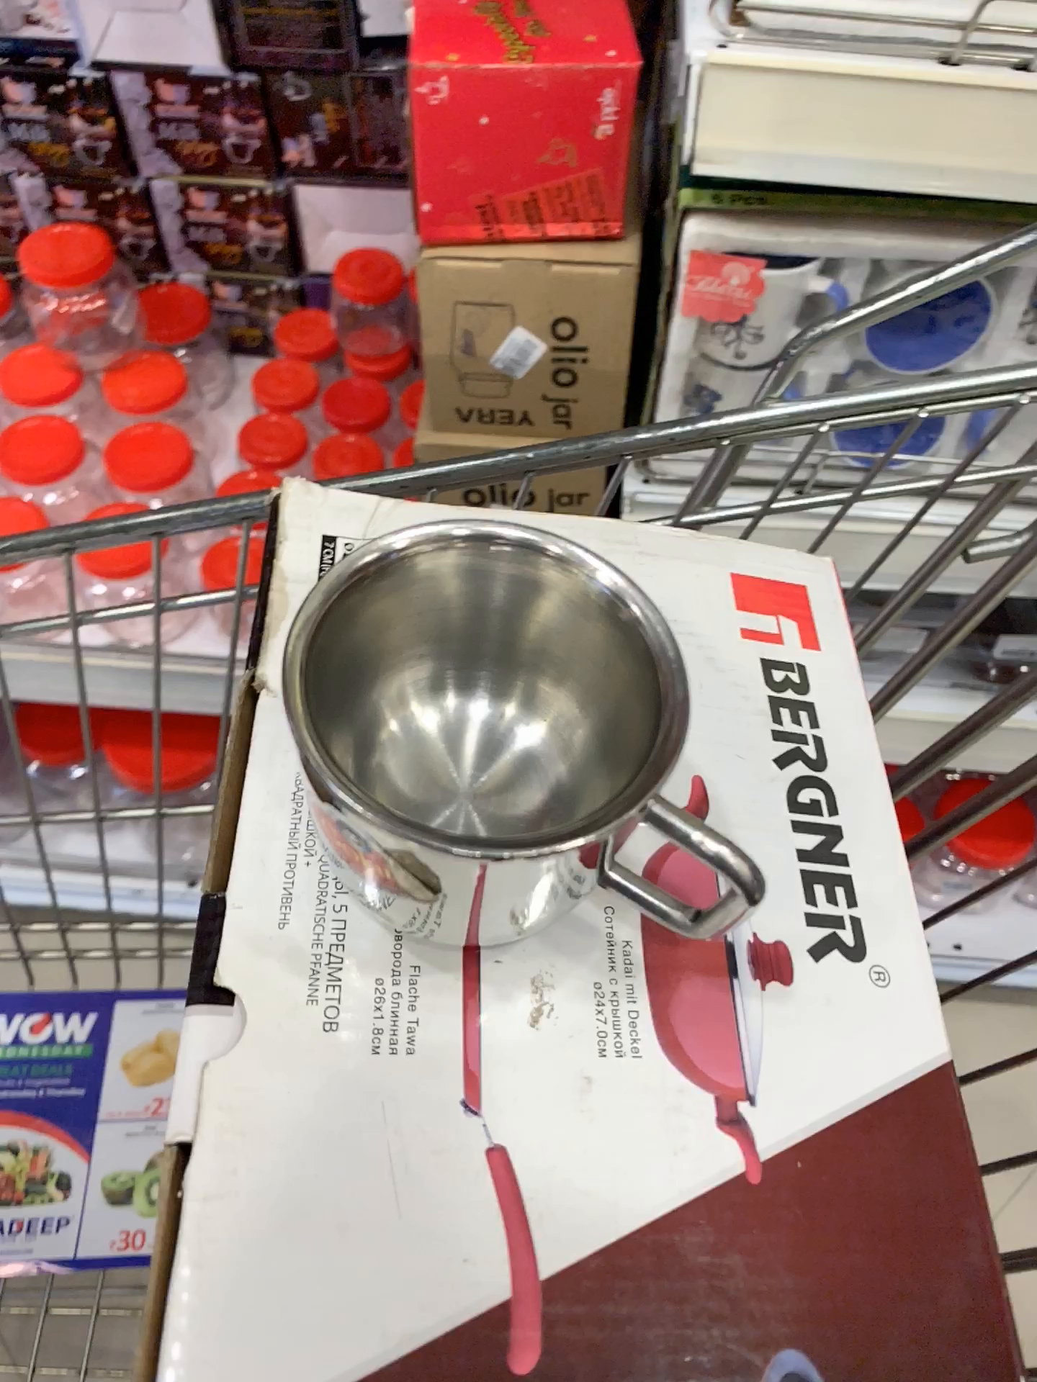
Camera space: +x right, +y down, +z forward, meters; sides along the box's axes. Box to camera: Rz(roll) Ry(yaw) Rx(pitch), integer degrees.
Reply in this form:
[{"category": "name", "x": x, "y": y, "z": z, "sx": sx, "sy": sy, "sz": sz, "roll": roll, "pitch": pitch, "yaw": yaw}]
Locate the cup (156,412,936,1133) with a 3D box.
[{"category": "cup", "x": 0.003, "y": 0.010, "z": 0.169, "sx": 0.090, "sy": 0.050, "sz": 0.060, "roll": 32, "pitch": 61, "yaw": 19}]
